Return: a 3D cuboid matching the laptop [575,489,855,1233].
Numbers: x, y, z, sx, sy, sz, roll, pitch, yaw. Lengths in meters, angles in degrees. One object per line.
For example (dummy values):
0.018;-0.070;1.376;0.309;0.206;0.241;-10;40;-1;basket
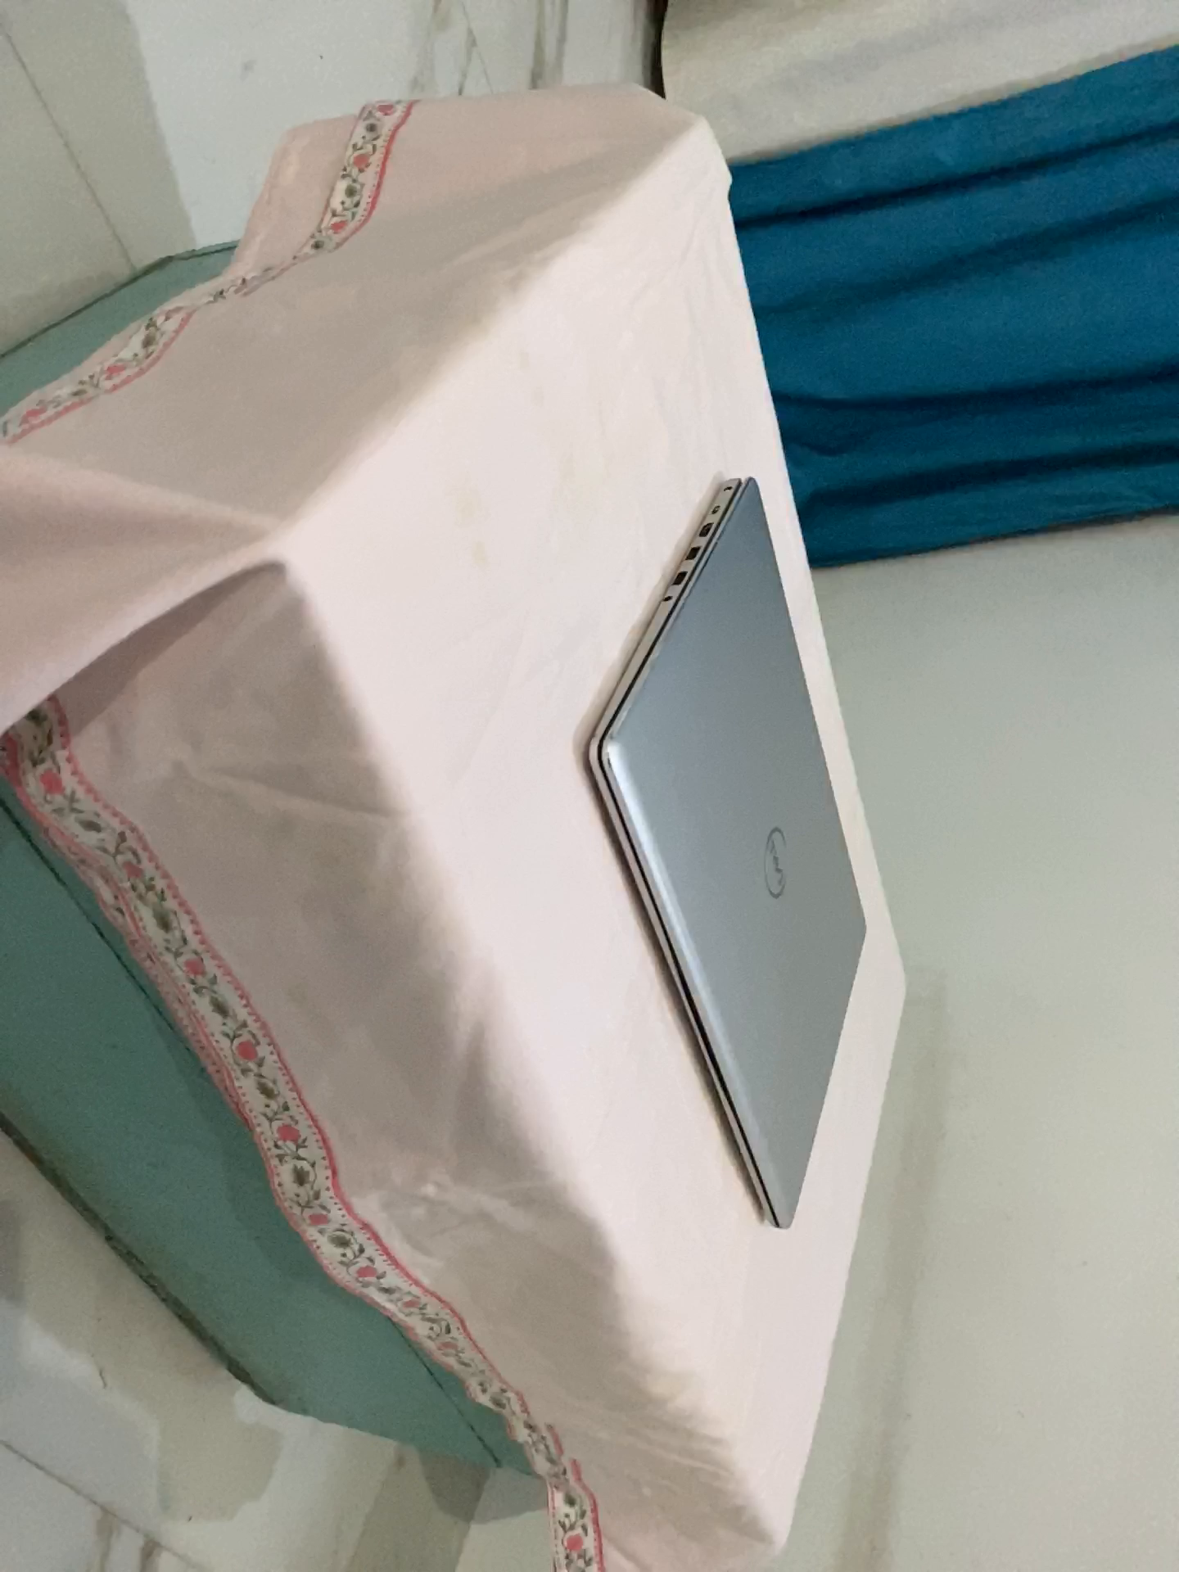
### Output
0.092;0.050;0.677;0.236;0.004;0.360;-62;142;-42;laptop
